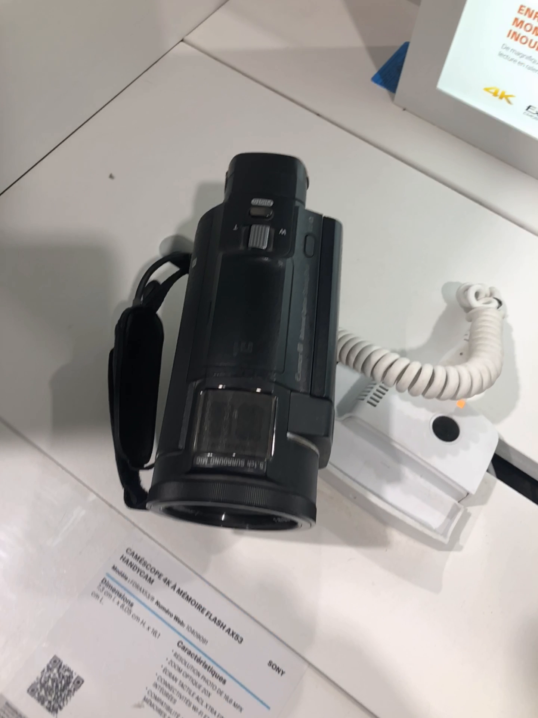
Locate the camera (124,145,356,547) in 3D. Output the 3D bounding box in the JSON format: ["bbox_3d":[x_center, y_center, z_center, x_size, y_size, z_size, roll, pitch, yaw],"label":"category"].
[{"bbox_3d":[-0.006,-0.006,0.252,0.073,0.070,0.149,4,64,0],"label":"camera"}]
